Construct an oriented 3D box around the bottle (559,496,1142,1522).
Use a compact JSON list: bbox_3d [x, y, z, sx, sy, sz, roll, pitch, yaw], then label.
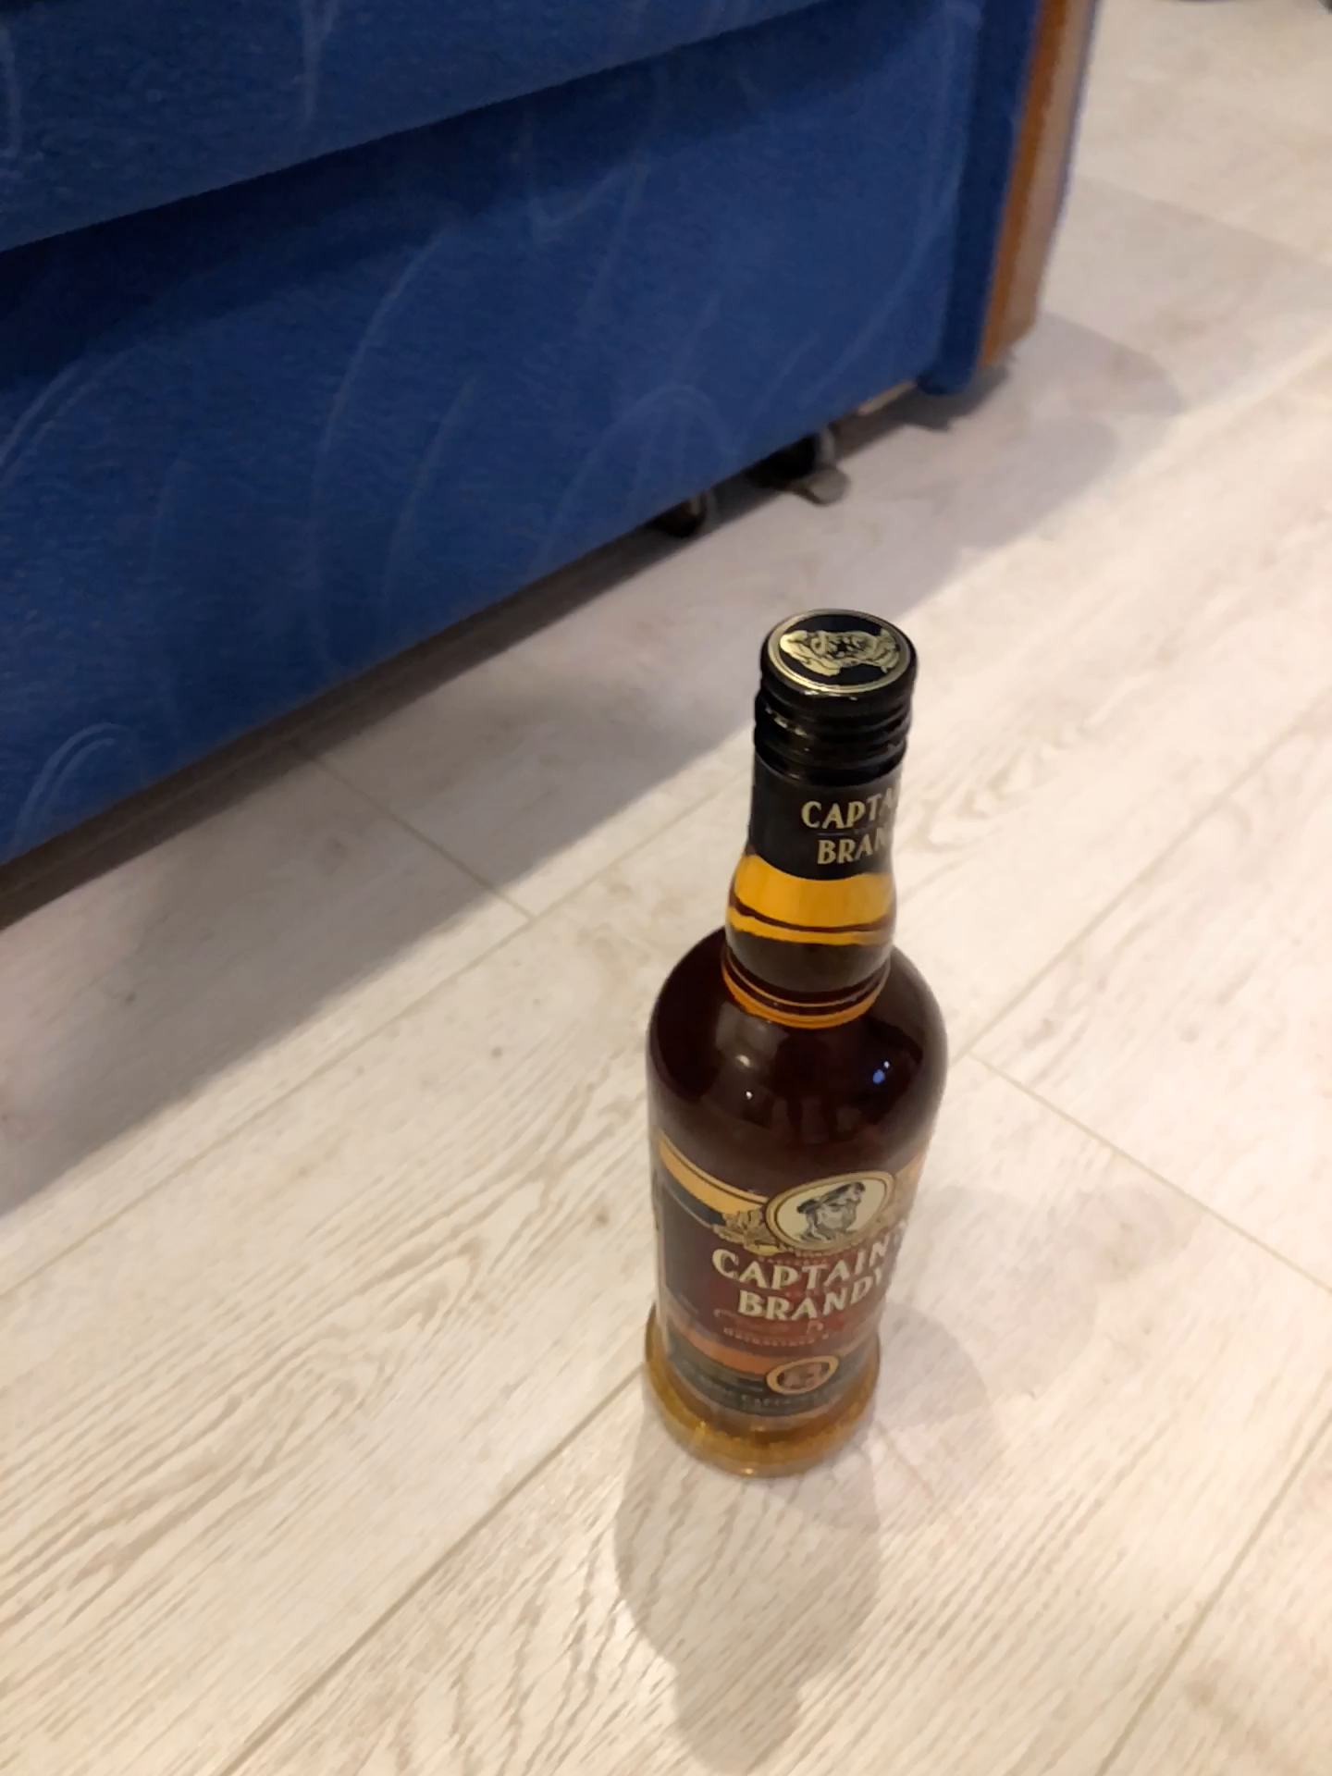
[{"bbox_3d":[0.027,0.048,0.349,0.080,0.257,0.080,1,45,-1],"label":"bottle"}]
